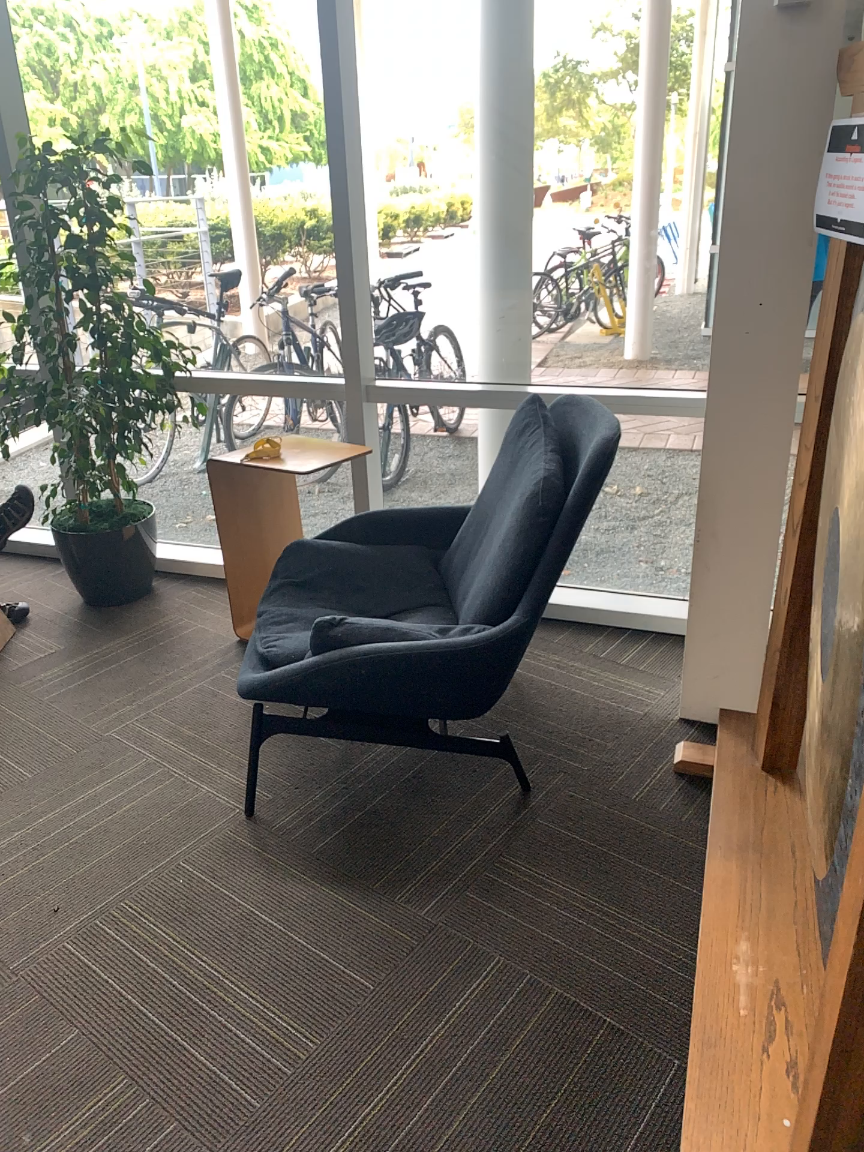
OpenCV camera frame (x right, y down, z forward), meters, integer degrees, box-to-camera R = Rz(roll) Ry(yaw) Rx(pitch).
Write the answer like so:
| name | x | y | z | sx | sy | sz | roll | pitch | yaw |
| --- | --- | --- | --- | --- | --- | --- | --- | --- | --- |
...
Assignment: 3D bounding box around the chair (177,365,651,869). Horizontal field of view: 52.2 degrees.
| name | x | y | z | sx | sy | sz | roll | pitch | yaw |
| --- | --- | --- | --- | --- | --- | --- | --- | --- | --- |
| chair | -0.036 | 0.043 | 2.353 | 0.940 | 0.995 | 0.905 | -3 | 23 | -2 |
